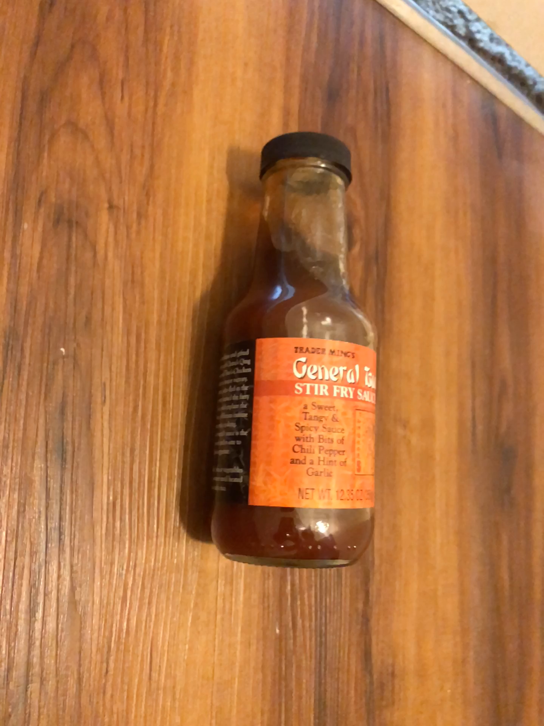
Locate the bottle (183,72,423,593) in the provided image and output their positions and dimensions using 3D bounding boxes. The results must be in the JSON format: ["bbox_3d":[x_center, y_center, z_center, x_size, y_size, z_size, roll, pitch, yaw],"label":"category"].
[{"bbox_3d":[0.014,-0.009,0.248,0.069,0.060,0.180,10,76,-35],"label":"bottle"}]
